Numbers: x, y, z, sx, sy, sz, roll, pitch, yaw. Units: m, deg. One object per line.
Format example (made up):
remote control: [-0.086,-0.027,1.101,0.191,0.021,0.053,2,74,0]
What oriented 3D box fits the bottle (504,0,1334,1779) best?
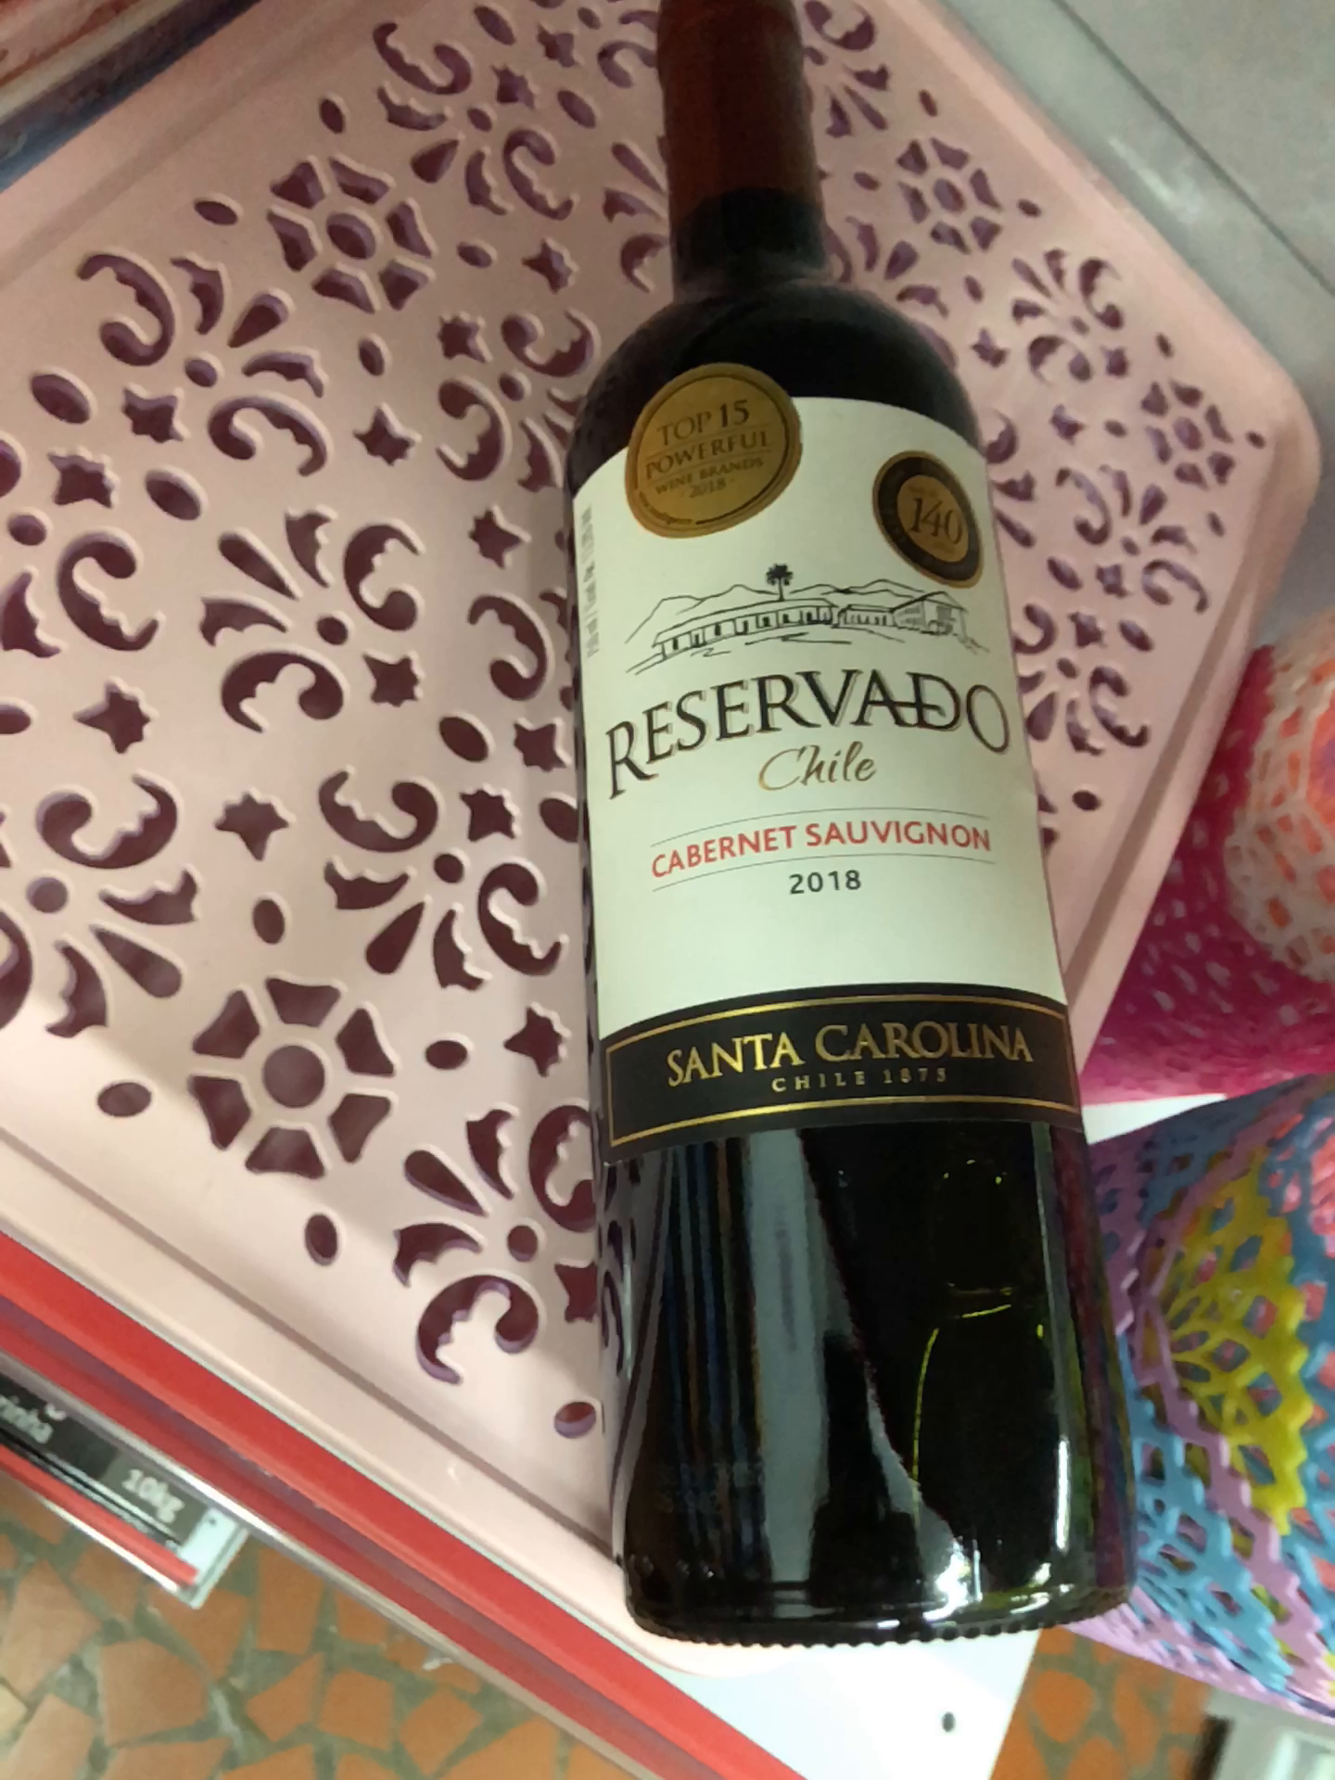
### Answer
bottle: [0.038,-0.054,0.264,0.110,0.070,0.350,5,70,-25]
